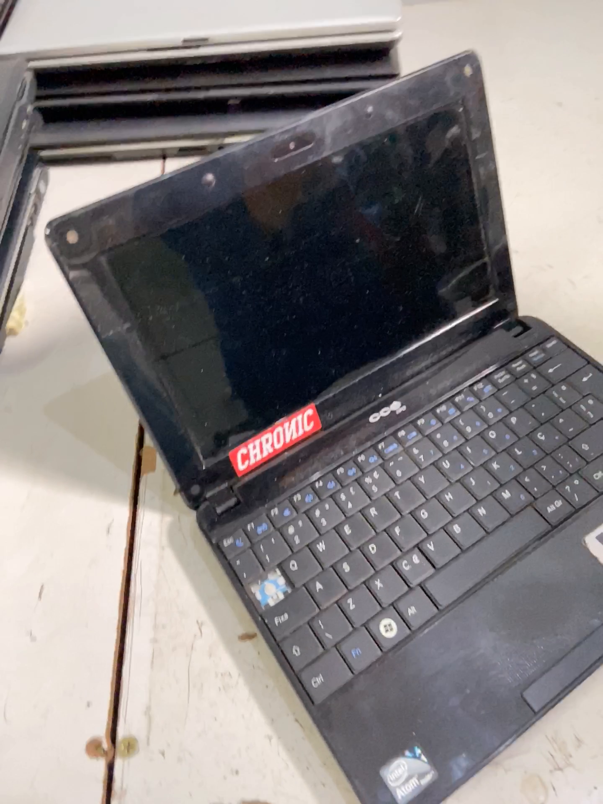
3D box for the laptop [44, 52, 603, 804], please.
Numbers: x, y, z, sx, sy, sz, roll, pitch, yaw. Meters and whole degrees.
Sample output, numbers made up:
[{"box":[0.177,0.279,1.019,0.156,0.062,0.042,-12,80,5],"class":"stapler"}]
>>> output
[{"box":[0.065,-0.010,0.301,0.254,0.137,0.258,-29,58,-16],"class":"laptop"}]
